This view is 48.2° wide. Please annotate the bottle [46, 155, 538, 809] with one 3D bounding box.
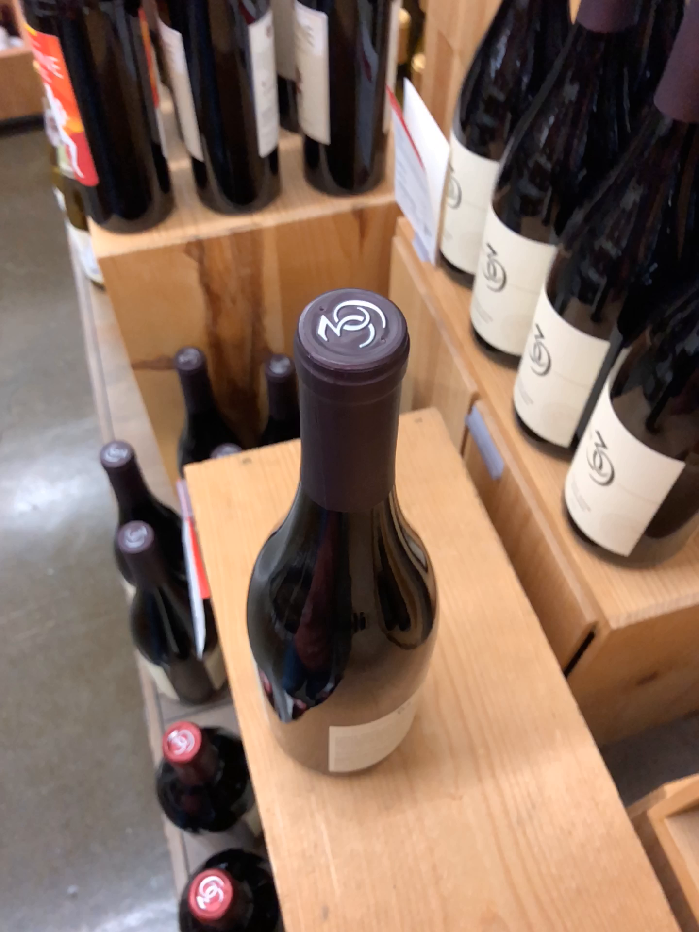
[{"bbox_3d":[-0.012,0.042,0.296,0.080,0.284,0.080,0,56,0],"label":"bottle"}]
